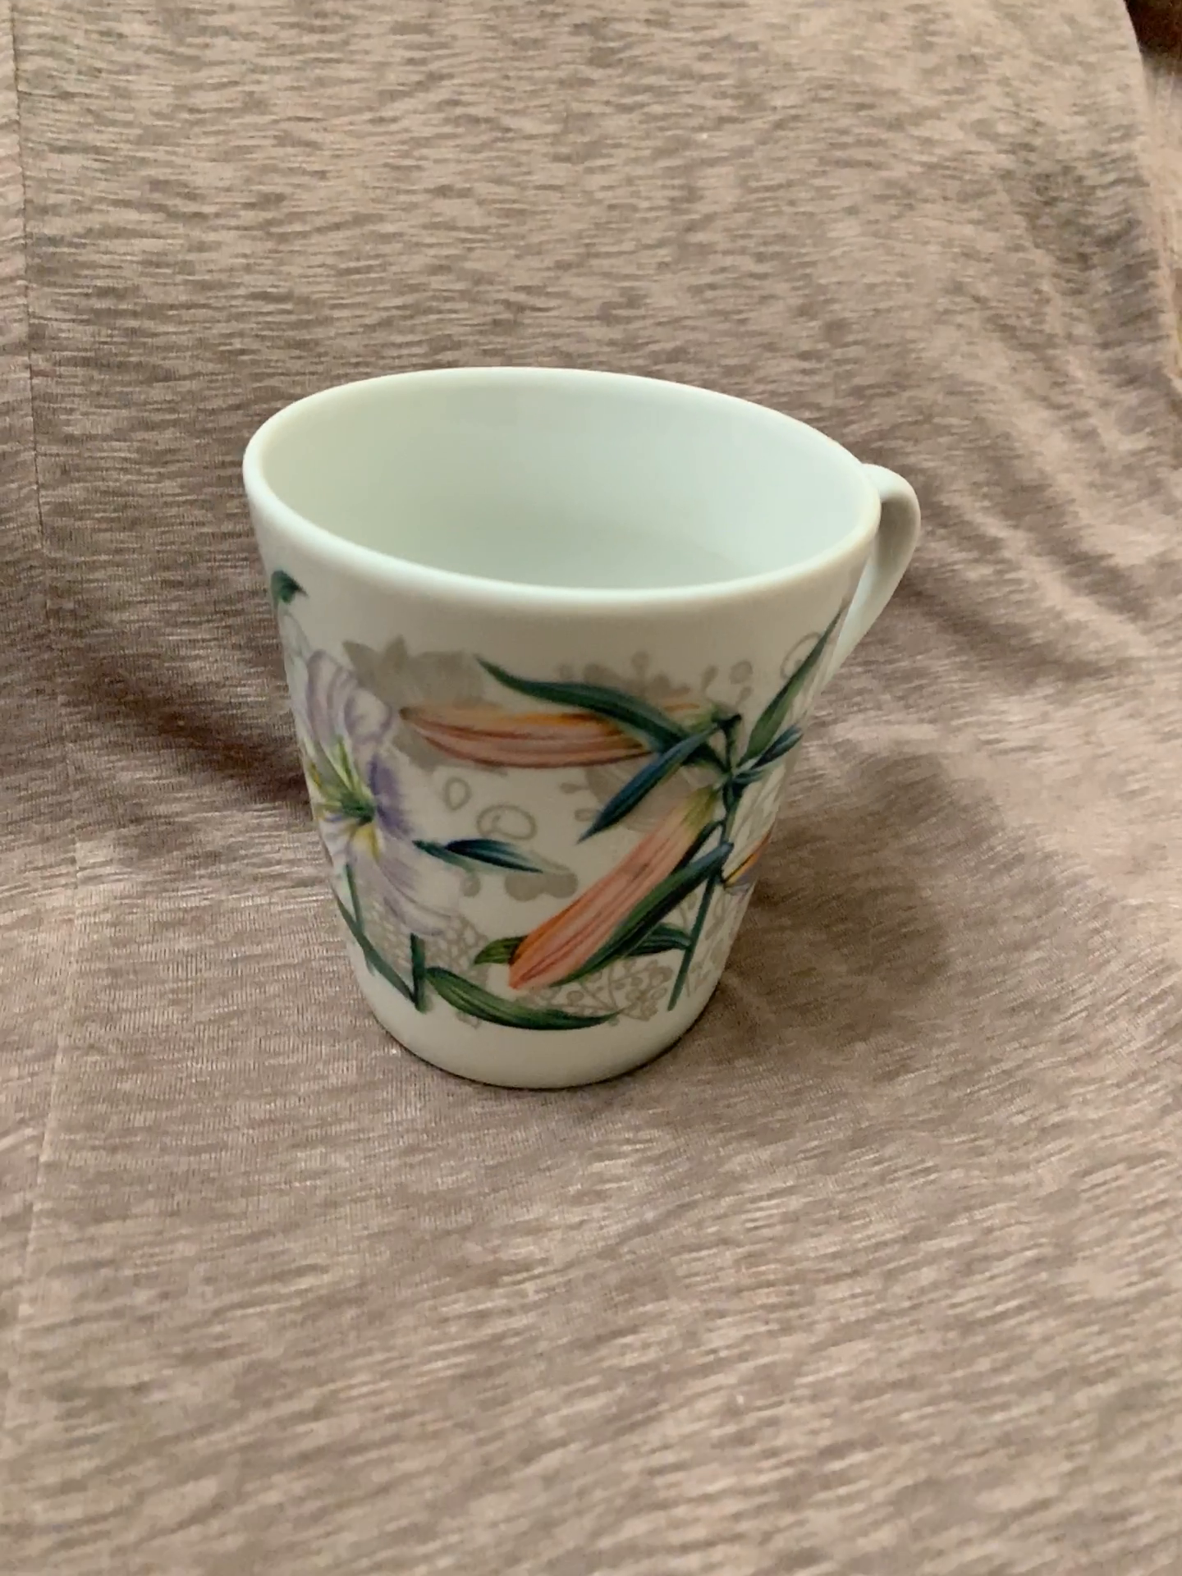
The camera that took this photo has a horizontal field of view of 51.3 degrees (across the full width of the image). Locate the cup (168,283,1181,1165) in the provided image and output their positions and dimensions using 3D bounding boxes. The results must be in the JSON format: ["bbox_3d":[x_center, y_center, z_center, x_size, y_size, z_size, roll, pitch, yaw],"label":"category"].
[{"bbox_3d":[0.008,-0.020,0.198,0.119,0.088,0.085,-14,38,-20],"label":"cup"}]
